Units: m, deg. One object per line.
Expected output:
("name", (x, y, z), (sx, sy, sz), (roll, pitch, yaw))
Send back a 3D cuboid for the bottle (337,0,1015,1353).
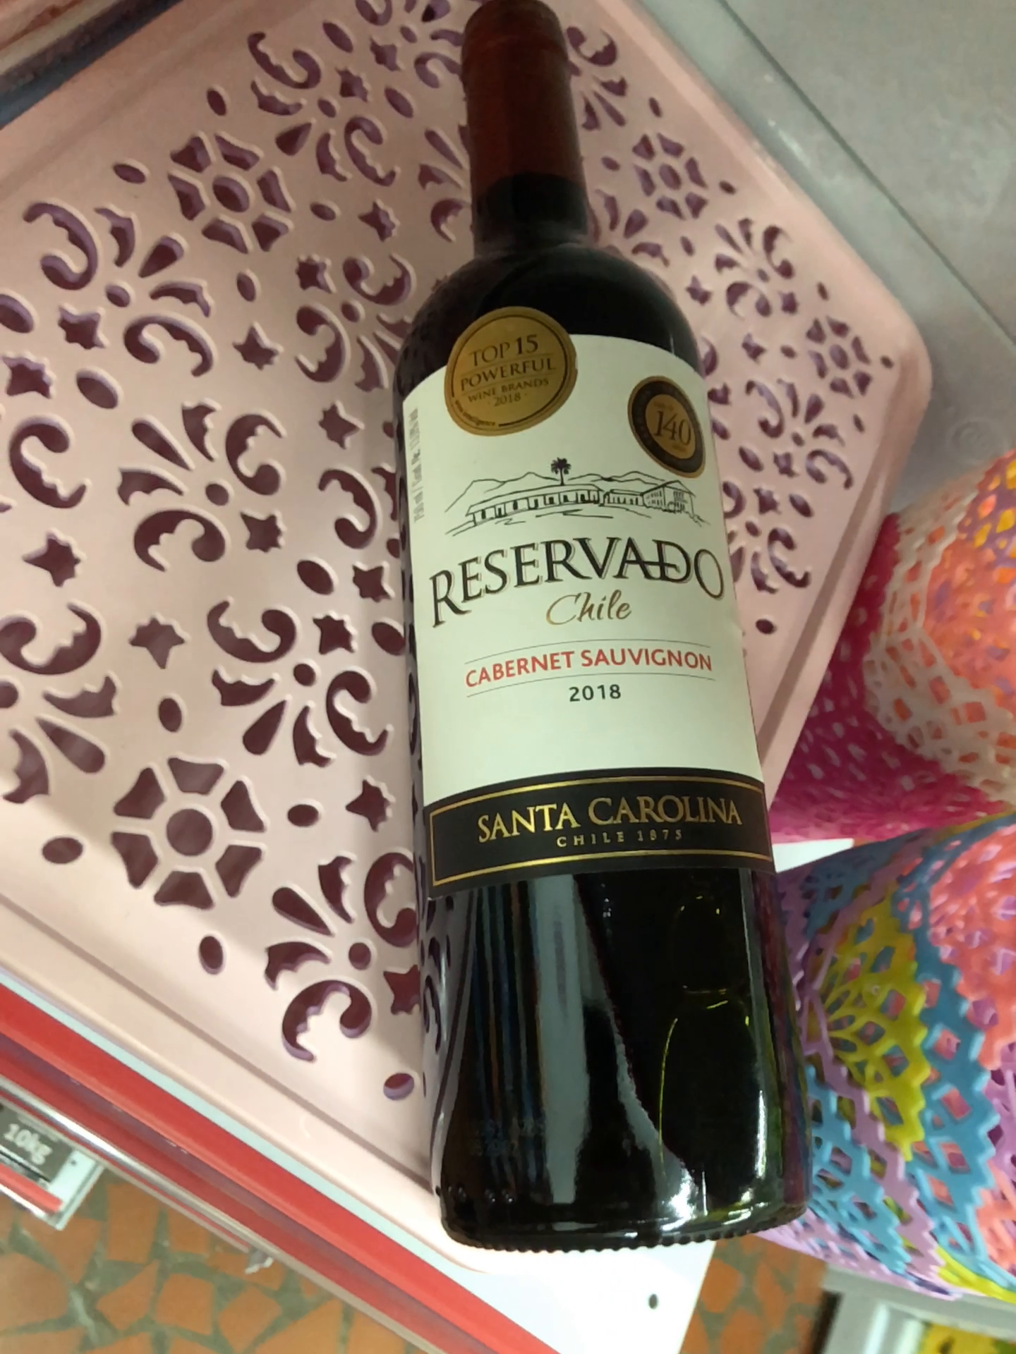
("bottle", (0.028, -0.051, 0.273), (0.110, 0.070, 0.350), (6, 70, -29))
